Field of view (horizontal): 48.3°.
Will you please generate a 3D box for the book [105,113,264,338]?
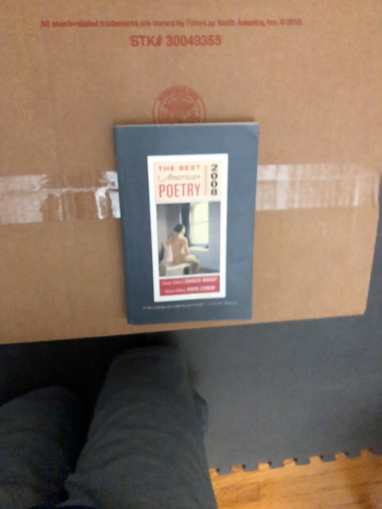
[{"bbox_3d":[-0.001,-0.024,0.446,0.150,0.020,0.230,-4,110,-5],"label":"book"}]
